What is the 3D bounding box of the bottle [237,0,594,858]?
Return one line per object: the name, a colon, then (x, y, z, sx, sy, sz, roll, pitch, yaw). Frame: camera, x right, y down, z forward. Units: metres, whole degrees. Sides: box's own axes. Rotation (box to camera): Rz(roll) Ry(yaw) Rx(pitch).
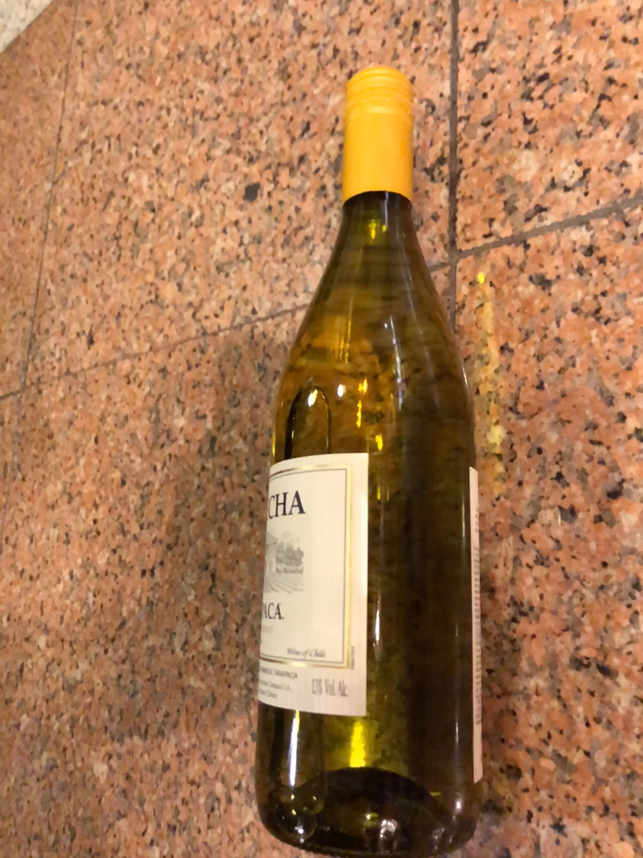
bottle: (0.035, -0.017, 0.272, 0.090, 0.070, 0.340, -11, 71, 41)
